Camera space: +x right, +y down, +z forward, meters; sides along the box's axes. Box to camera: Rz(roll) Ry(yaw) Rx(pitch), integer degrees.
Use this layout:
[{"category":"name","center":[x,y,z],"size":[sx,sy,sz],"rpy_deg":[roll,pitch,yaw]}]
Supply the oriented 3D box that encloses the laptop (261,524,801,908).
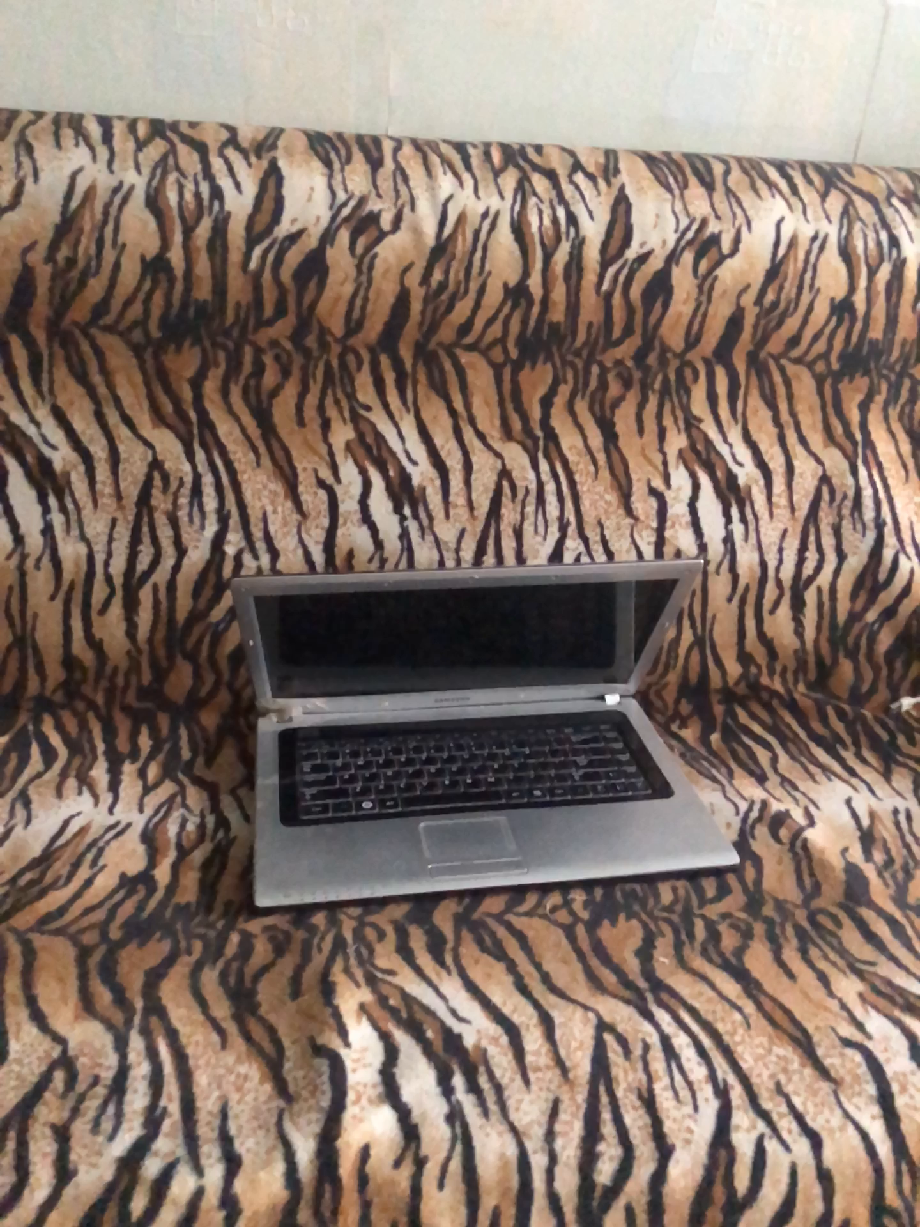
[{"category":"laptop","center":[0.024,0.061,0.781],"size":[0.350,0.179,0.239],"rpy_deg":[-1,27,-10]}]
